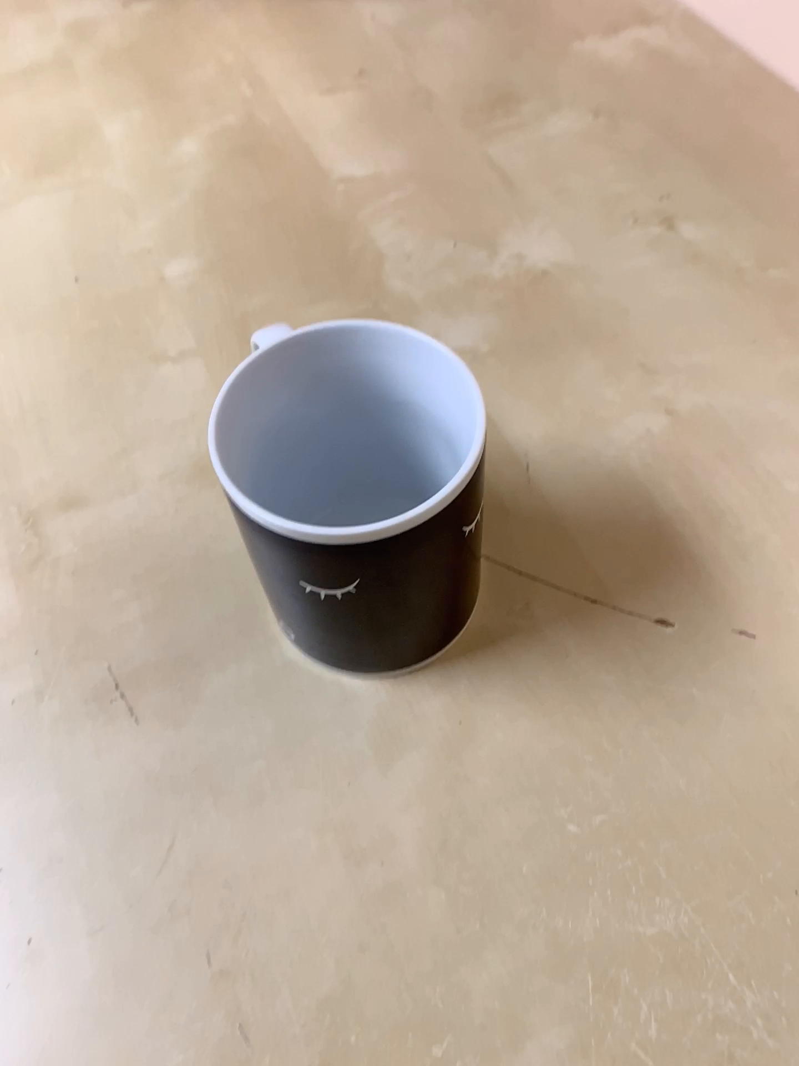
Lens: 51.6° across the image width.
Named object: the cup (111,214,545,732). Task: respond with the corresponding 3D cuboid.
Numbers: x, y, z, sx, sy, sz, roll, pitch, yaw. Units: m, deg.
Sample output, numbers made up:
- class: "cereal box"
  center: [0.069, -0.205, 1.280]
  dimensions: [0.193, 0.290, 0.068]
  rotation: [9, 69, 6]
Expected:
- class: "cup"
  center: [-0.024, -0.020, 0.285]
  dimensions: [0.083, 0.101, 0.122]
  rotation: [-26, 59, -13]
